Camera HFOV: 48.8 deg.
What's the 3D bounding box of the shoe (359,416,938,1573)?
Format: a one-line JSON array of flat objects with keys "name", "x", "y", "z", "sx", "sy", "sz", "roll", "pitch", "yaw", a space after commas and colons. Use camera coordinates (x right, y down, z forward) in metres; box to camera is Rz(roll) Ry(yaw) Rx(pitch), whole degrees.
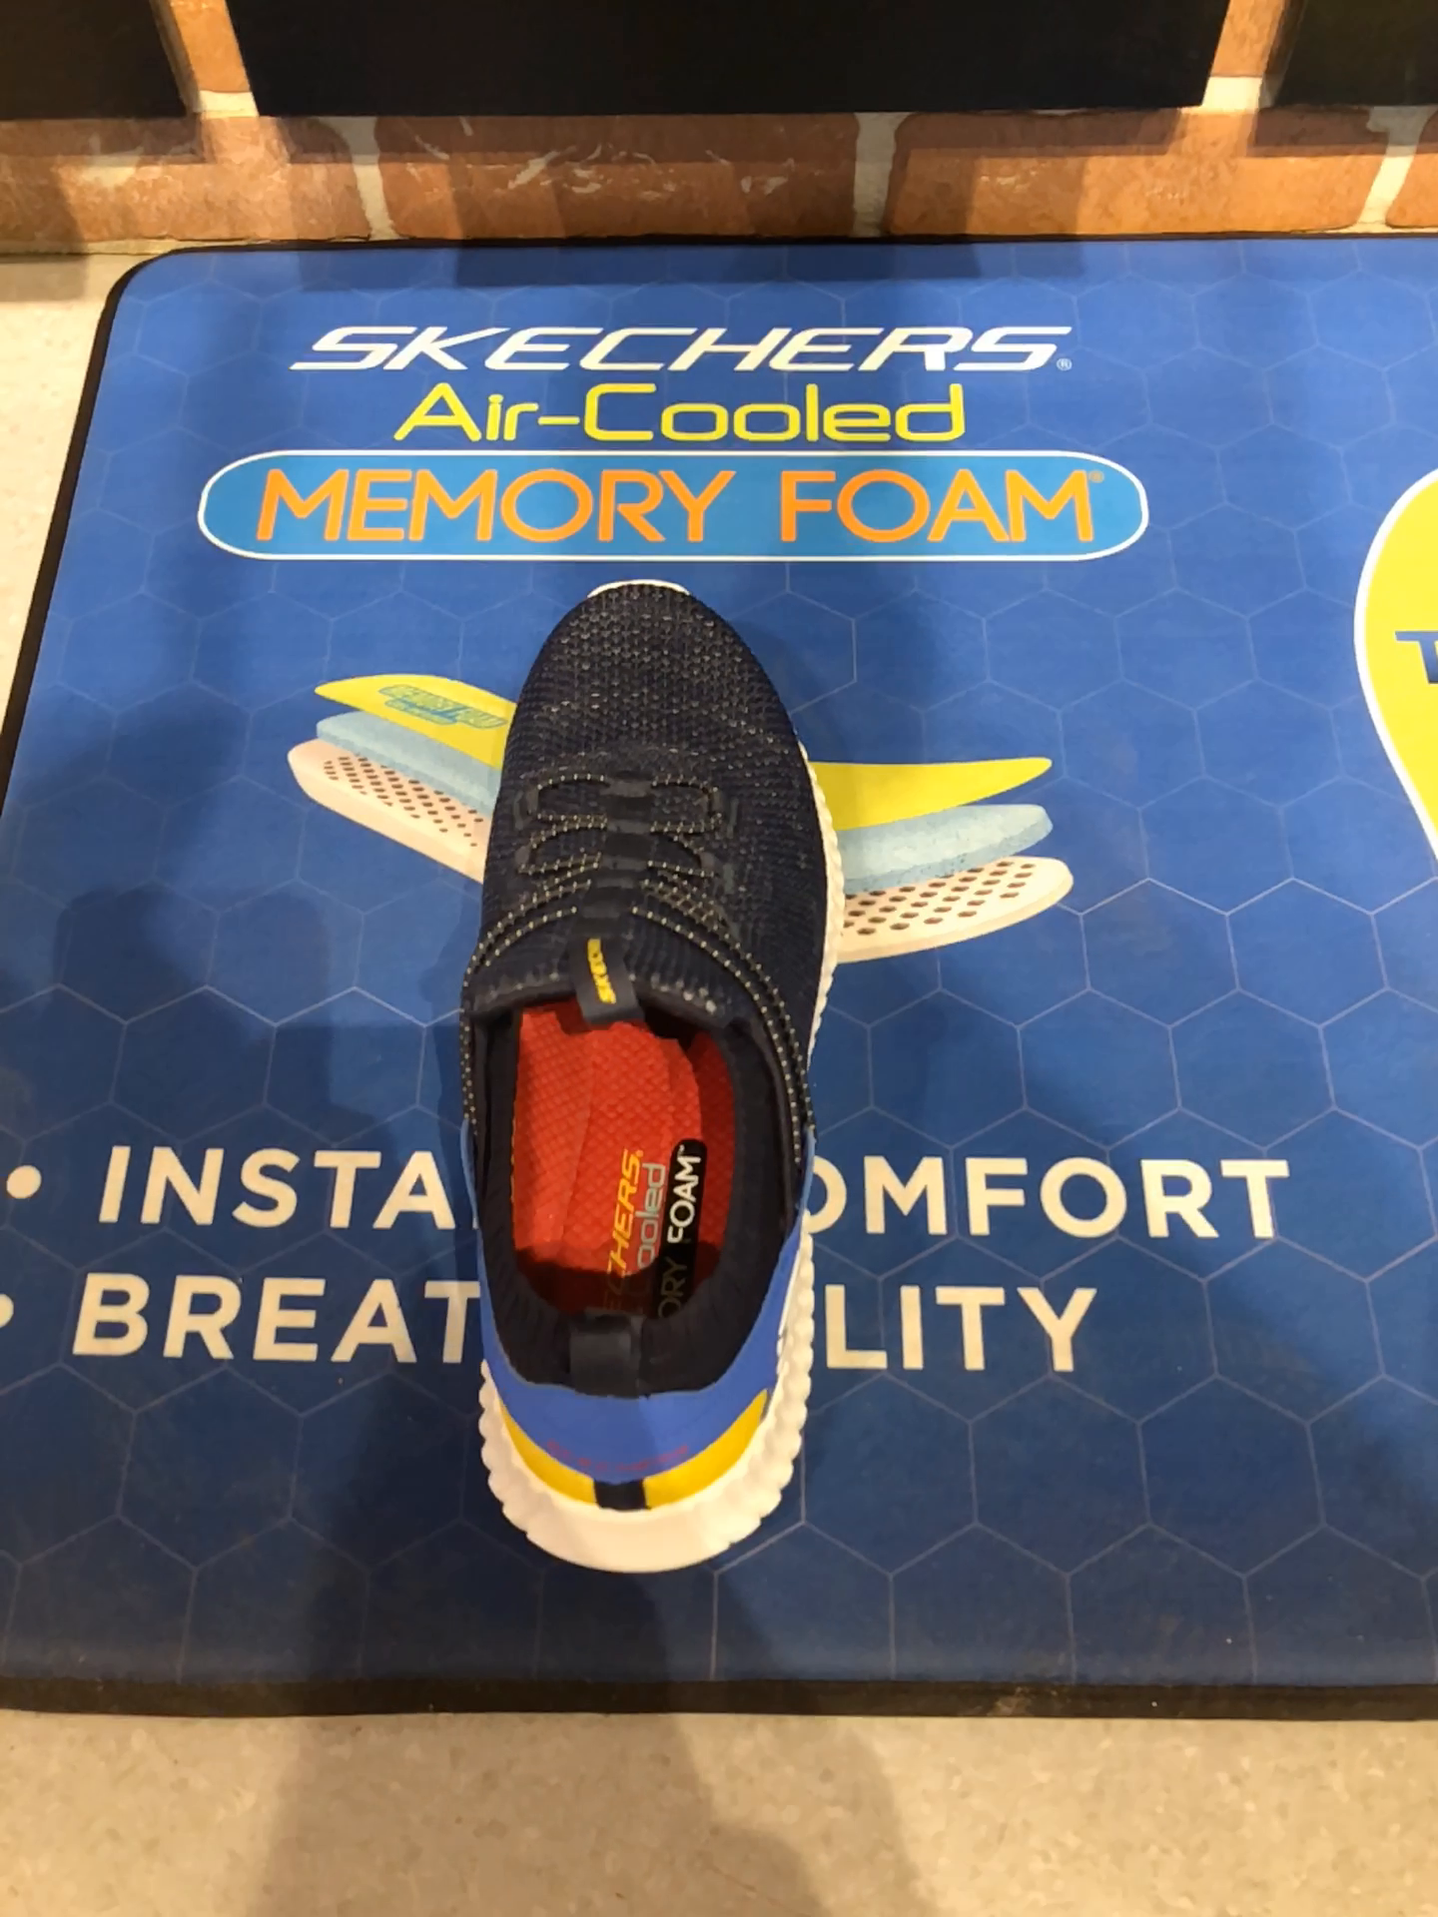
[{"name": "shoe", "x": -0.018, "y": 0.003, "z": 0.413, "sx": 0.111, "sy": 0.103, "sz": 0.280, "roll": -2, "pitch": 63, "yaw": 0}]
